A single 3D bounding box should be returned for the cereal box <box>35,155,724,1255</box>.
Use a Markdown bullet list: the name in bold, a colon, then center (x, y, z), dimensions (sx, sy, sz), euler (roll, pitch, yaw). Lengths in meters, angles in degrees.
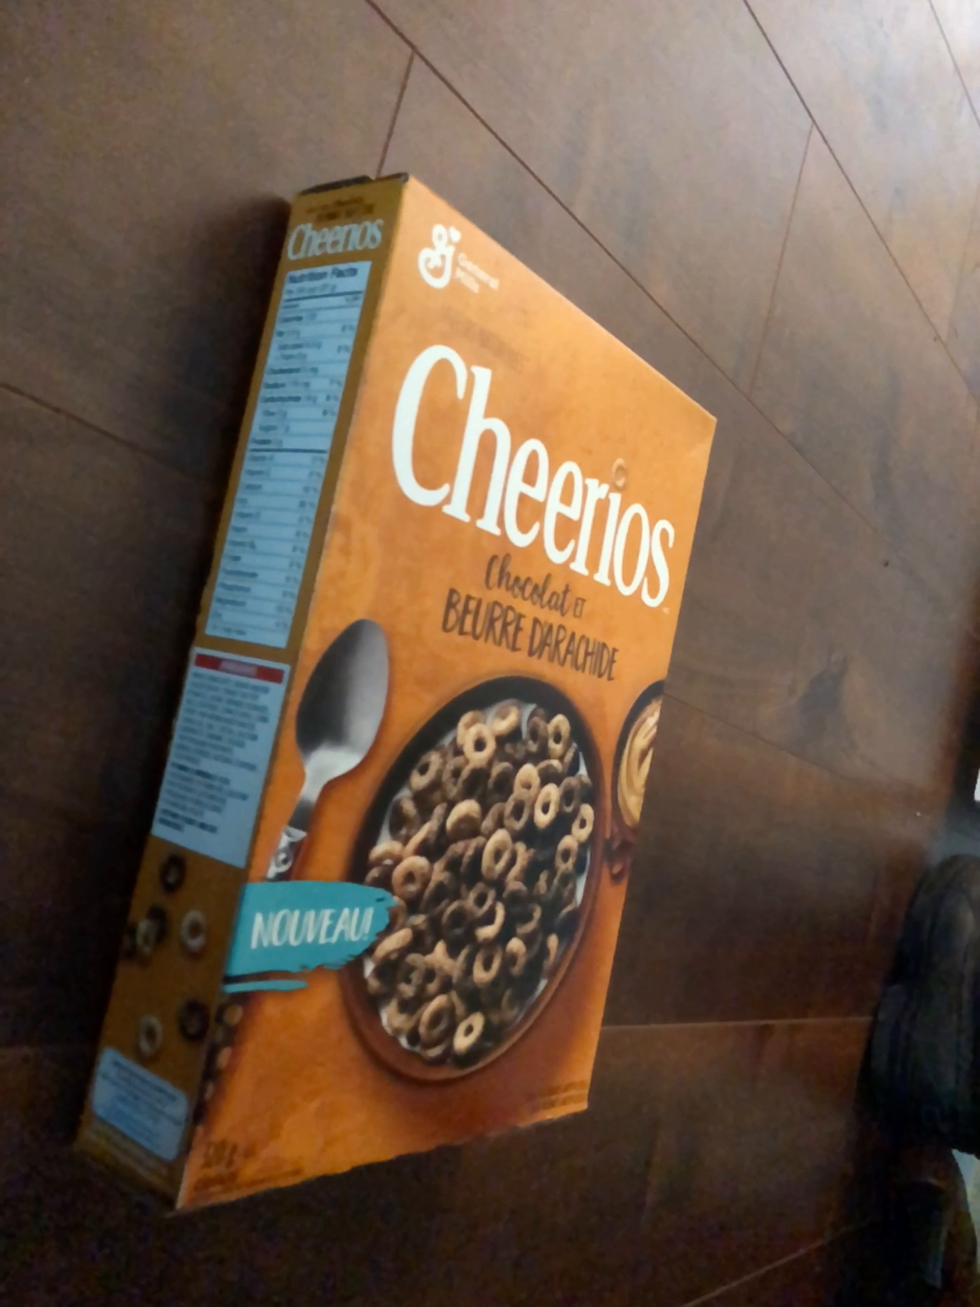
- **cereal box**: center (-0.017, 0.023, 0.383), dimensions (0.201, 0.060, 0.300), euler (17, 84, -51)
